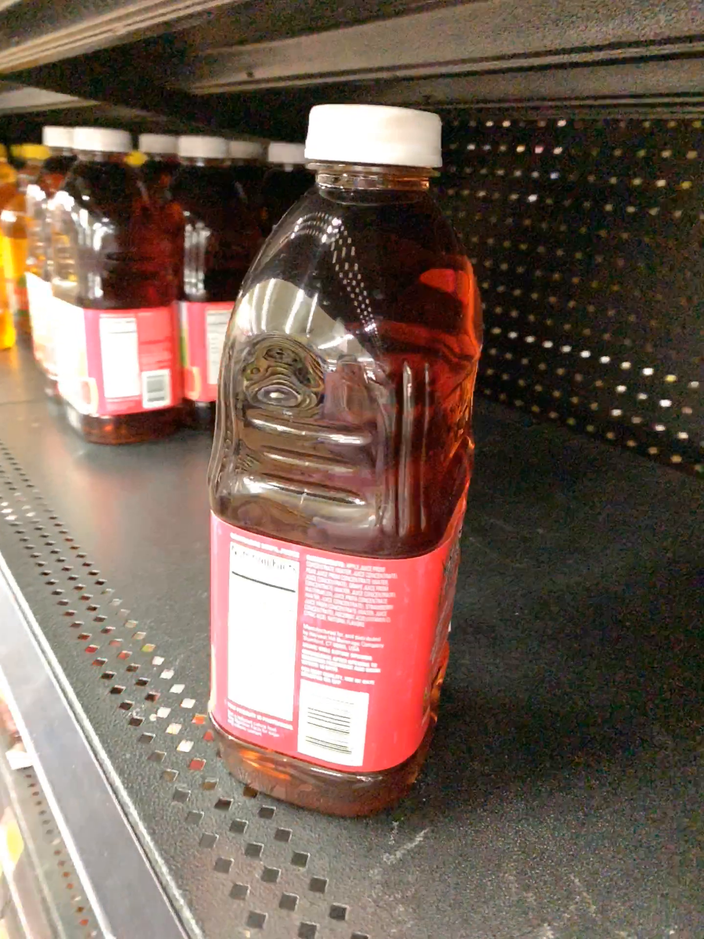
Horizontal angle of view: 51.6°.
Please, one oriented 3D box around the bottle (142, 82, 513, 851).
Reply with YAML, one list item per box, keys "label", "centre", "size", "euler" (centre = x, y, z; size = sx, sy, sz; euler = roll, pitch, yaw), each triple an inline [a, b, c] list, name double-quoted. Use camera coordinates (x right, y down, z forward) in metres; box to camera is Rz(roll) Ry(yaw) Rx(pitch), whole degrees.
- label: "bottle"
  centre: [-0.002, -0.004, 0.291]
  size: [0.090, 0.255, 0.126]
  euler: [8, 23, 13]
